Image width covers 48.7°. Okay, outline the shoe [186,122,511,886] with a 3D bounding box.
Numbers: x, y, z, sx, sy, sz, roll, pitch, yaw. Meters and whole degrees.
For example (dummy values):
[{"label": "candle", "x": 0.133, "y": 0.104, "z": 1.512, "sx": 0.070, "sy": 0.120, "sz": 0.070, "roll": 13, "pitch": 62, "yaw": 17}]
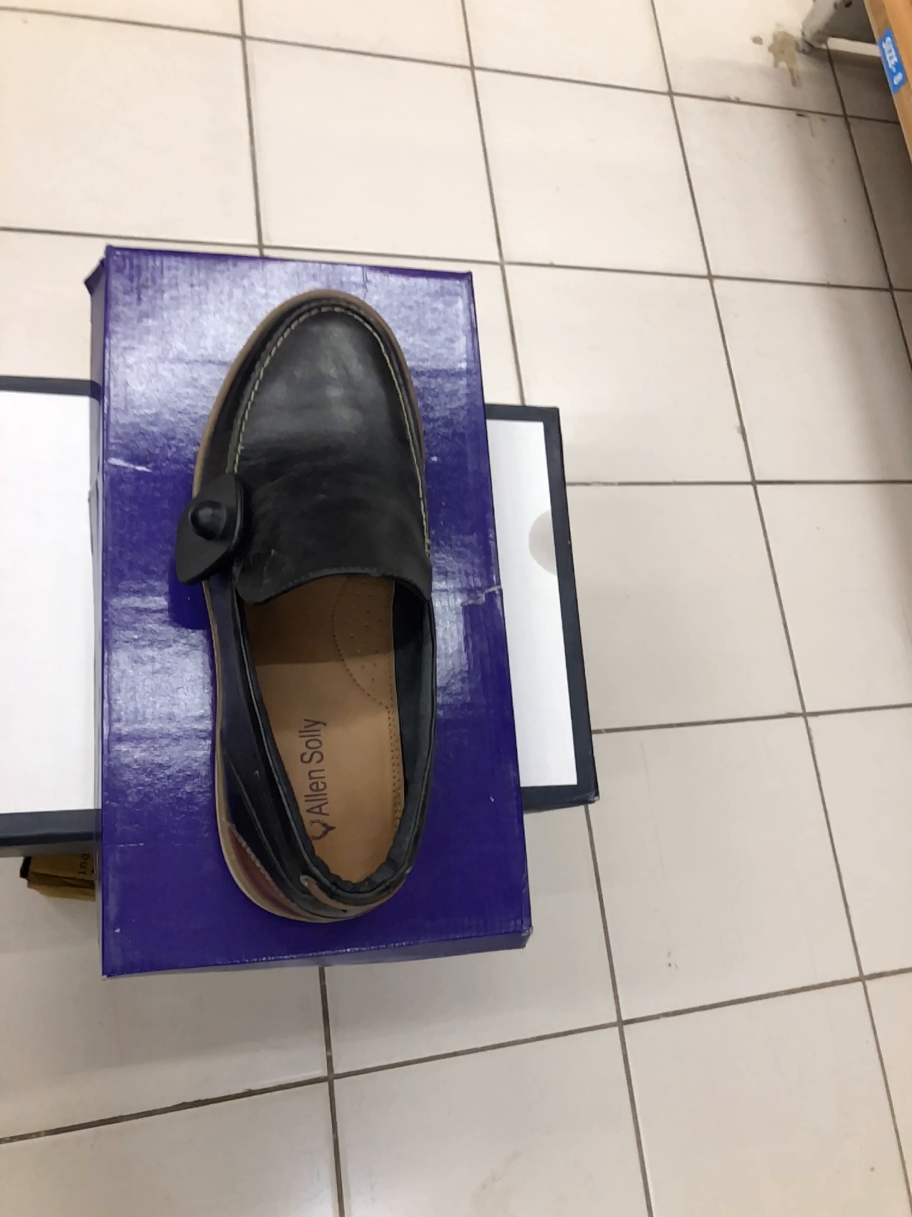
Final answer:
[{"label": "shoe", "x": -0.059, "y": -0.041, "z": 0.439, "sx": 0.100, "sy": 0.110, "sz": 0.300, "roll": -1, "pitch": 74, "yaw": -18}]
